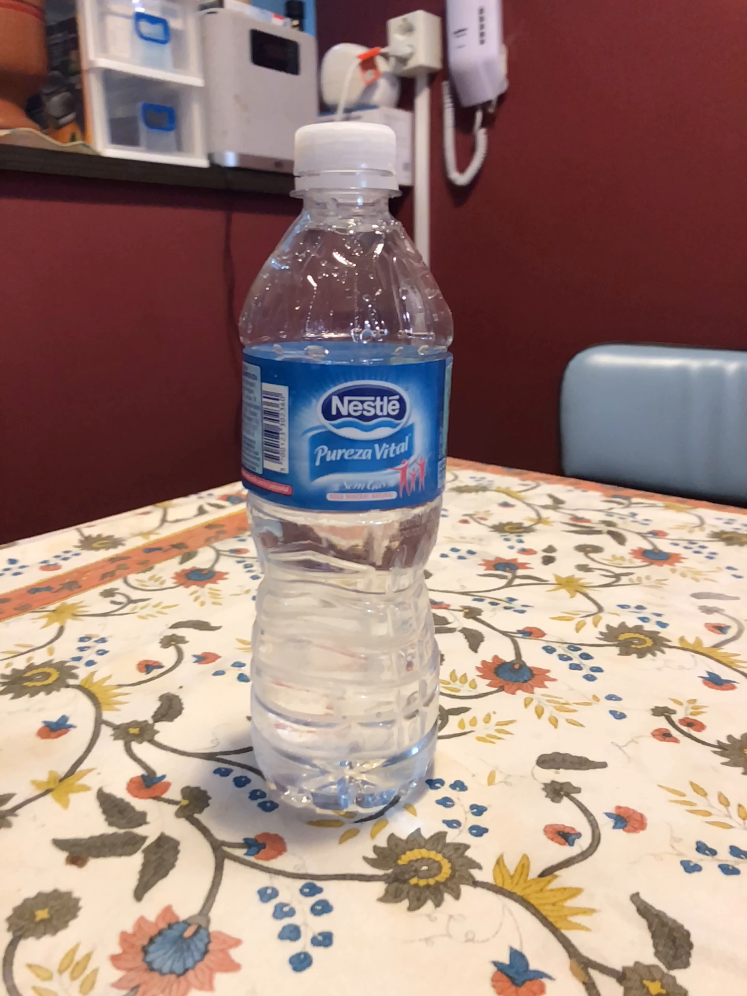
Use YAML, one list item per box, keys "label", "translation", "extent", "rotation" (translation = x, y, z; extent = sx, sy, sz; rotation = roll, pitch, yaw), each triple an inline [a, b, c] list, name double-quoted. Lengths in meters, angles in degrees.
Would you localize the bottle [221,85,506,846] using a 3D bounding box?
- label: "bottle"
  translation: [-0.005, -0.009, 0.242]
  extent: [0.060, 0.189, 0.070]
  rotation: [-5, 15, -14]
